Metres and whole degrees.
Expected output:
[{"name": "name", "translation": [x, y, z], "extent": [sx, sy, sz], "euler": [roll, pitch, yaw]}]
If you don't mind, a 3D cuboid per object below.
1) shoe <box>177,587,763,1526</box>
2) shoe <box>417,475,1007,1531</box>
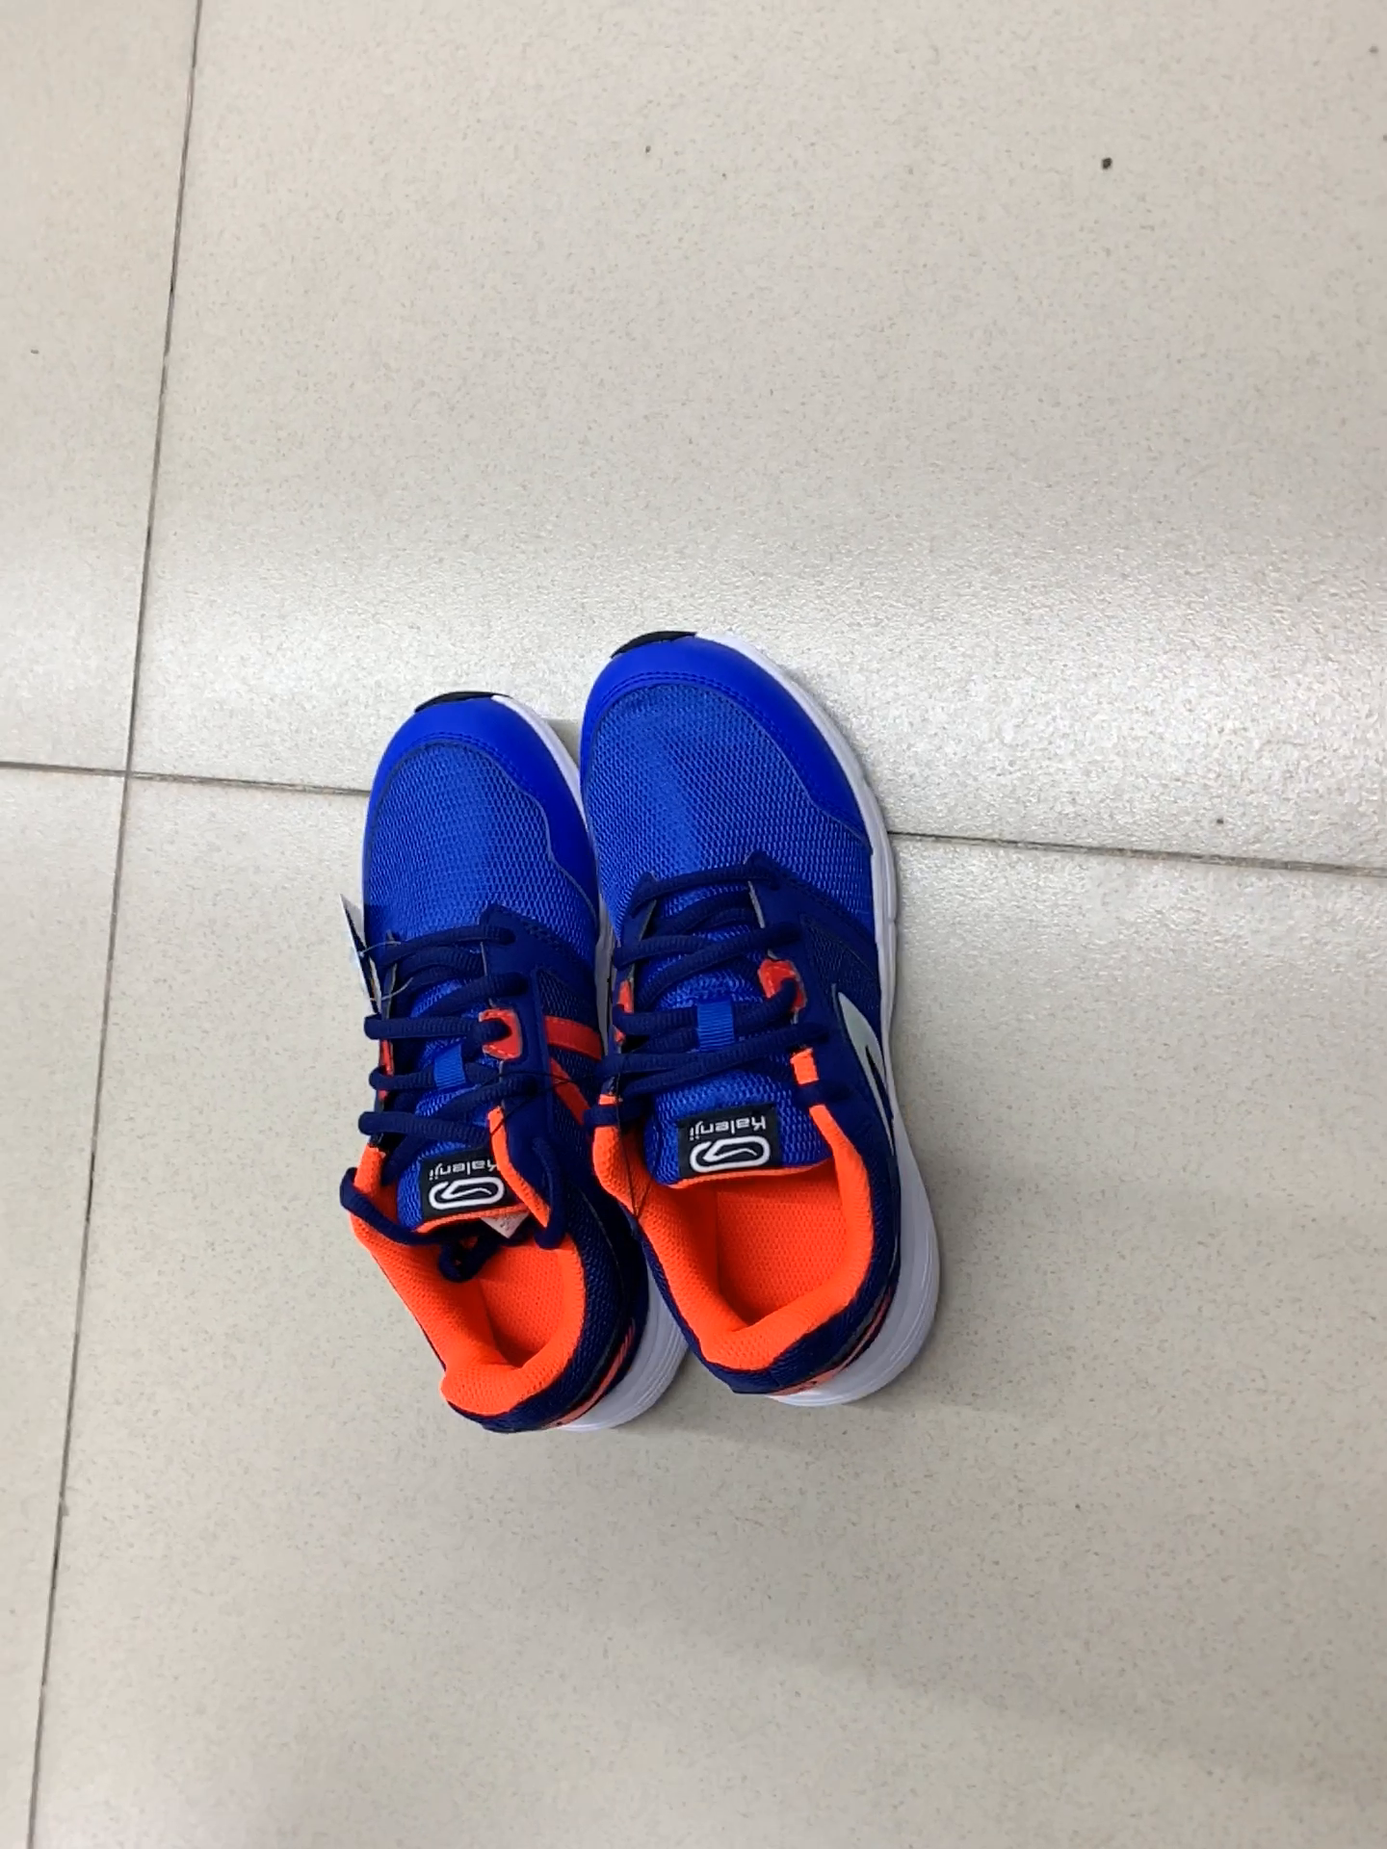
[{"name": "shoe", "translation": [-0.065, 0.039, 0.456], "extent": [0.090, 0.120, 0.250], "euler": [-15, 85, 17]}, {"name": "shoe", "translation": [0.012, 0.022, 0.411], "extent": [0.090, 0.120, 0.250], "euler": [-13, 85, 17]}]
